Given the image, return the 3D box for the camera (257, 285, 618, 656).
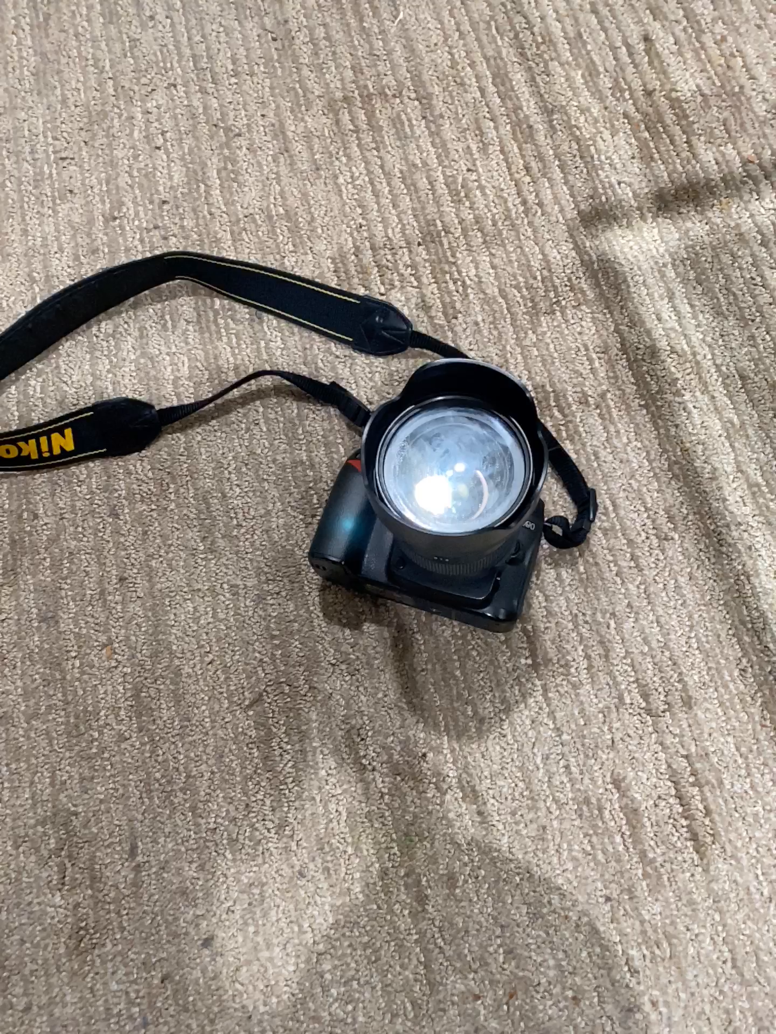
[{"bbox_3d":[0.027,-0.015,0.439,0.138,0.166,0.114,16,70,8],"label":"camera"}]
